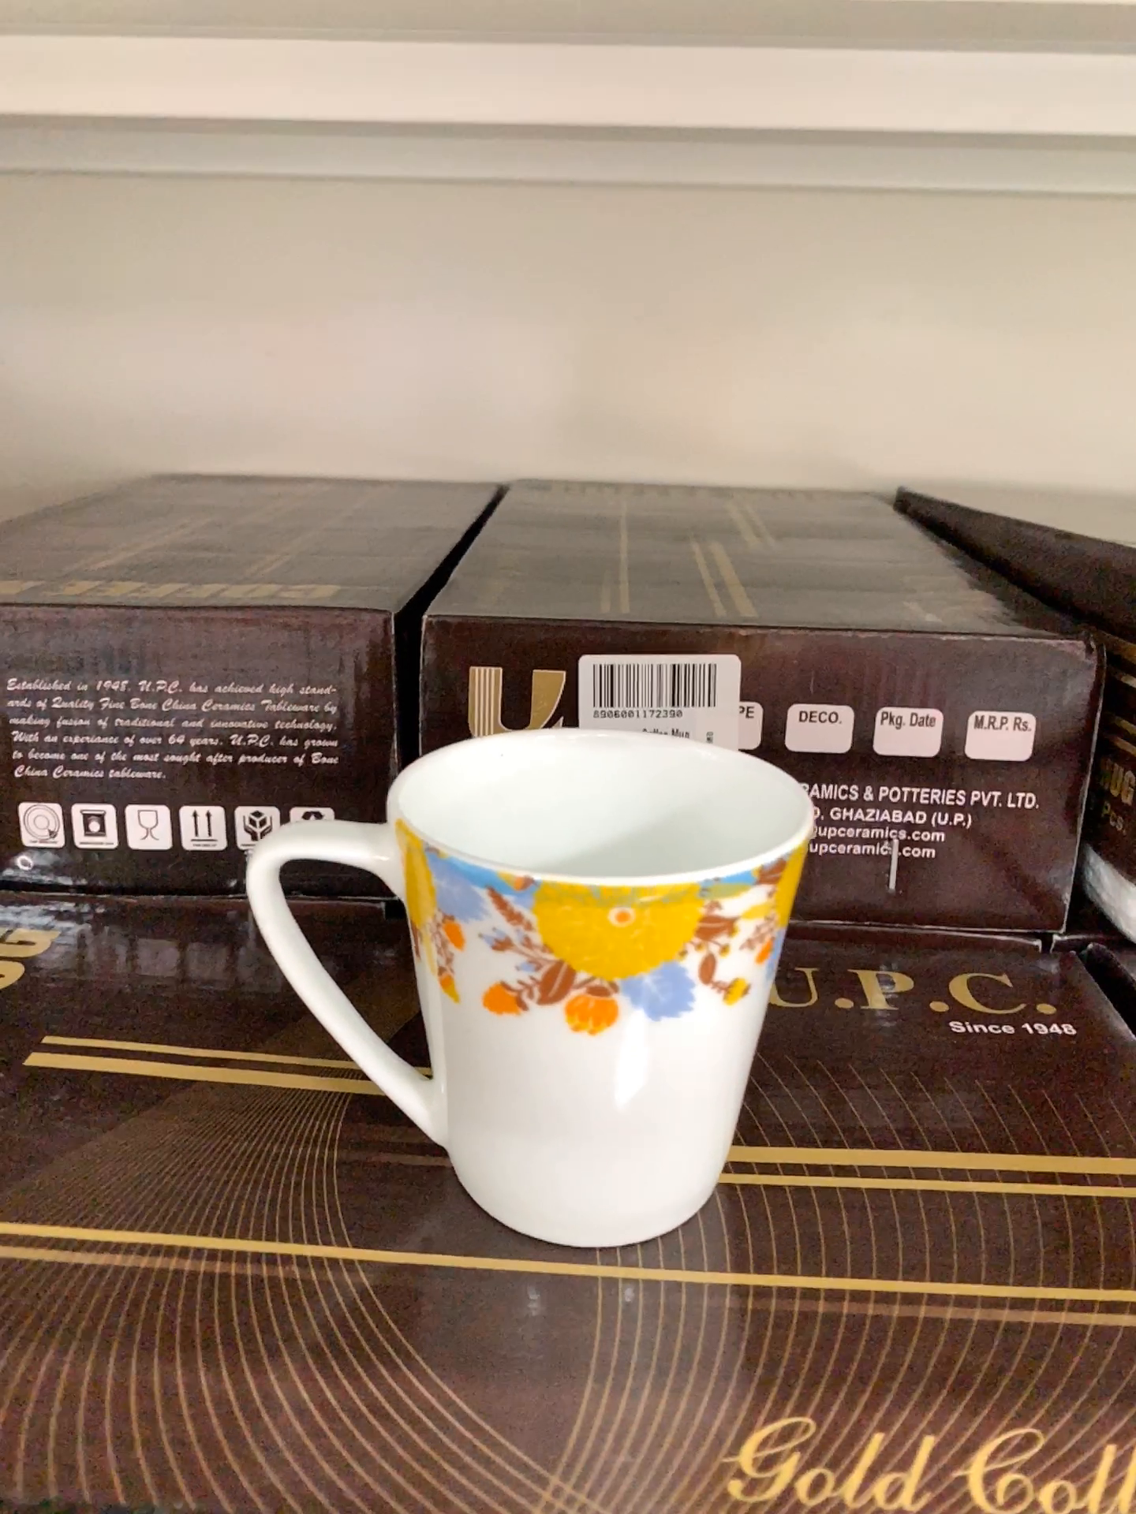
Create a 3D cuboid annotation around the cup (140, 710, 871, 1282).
[{"bbox_3d":[-0.007,0.032,0.189,0.092,0.058,0.068,3,19,3],"label":"cup"}]
